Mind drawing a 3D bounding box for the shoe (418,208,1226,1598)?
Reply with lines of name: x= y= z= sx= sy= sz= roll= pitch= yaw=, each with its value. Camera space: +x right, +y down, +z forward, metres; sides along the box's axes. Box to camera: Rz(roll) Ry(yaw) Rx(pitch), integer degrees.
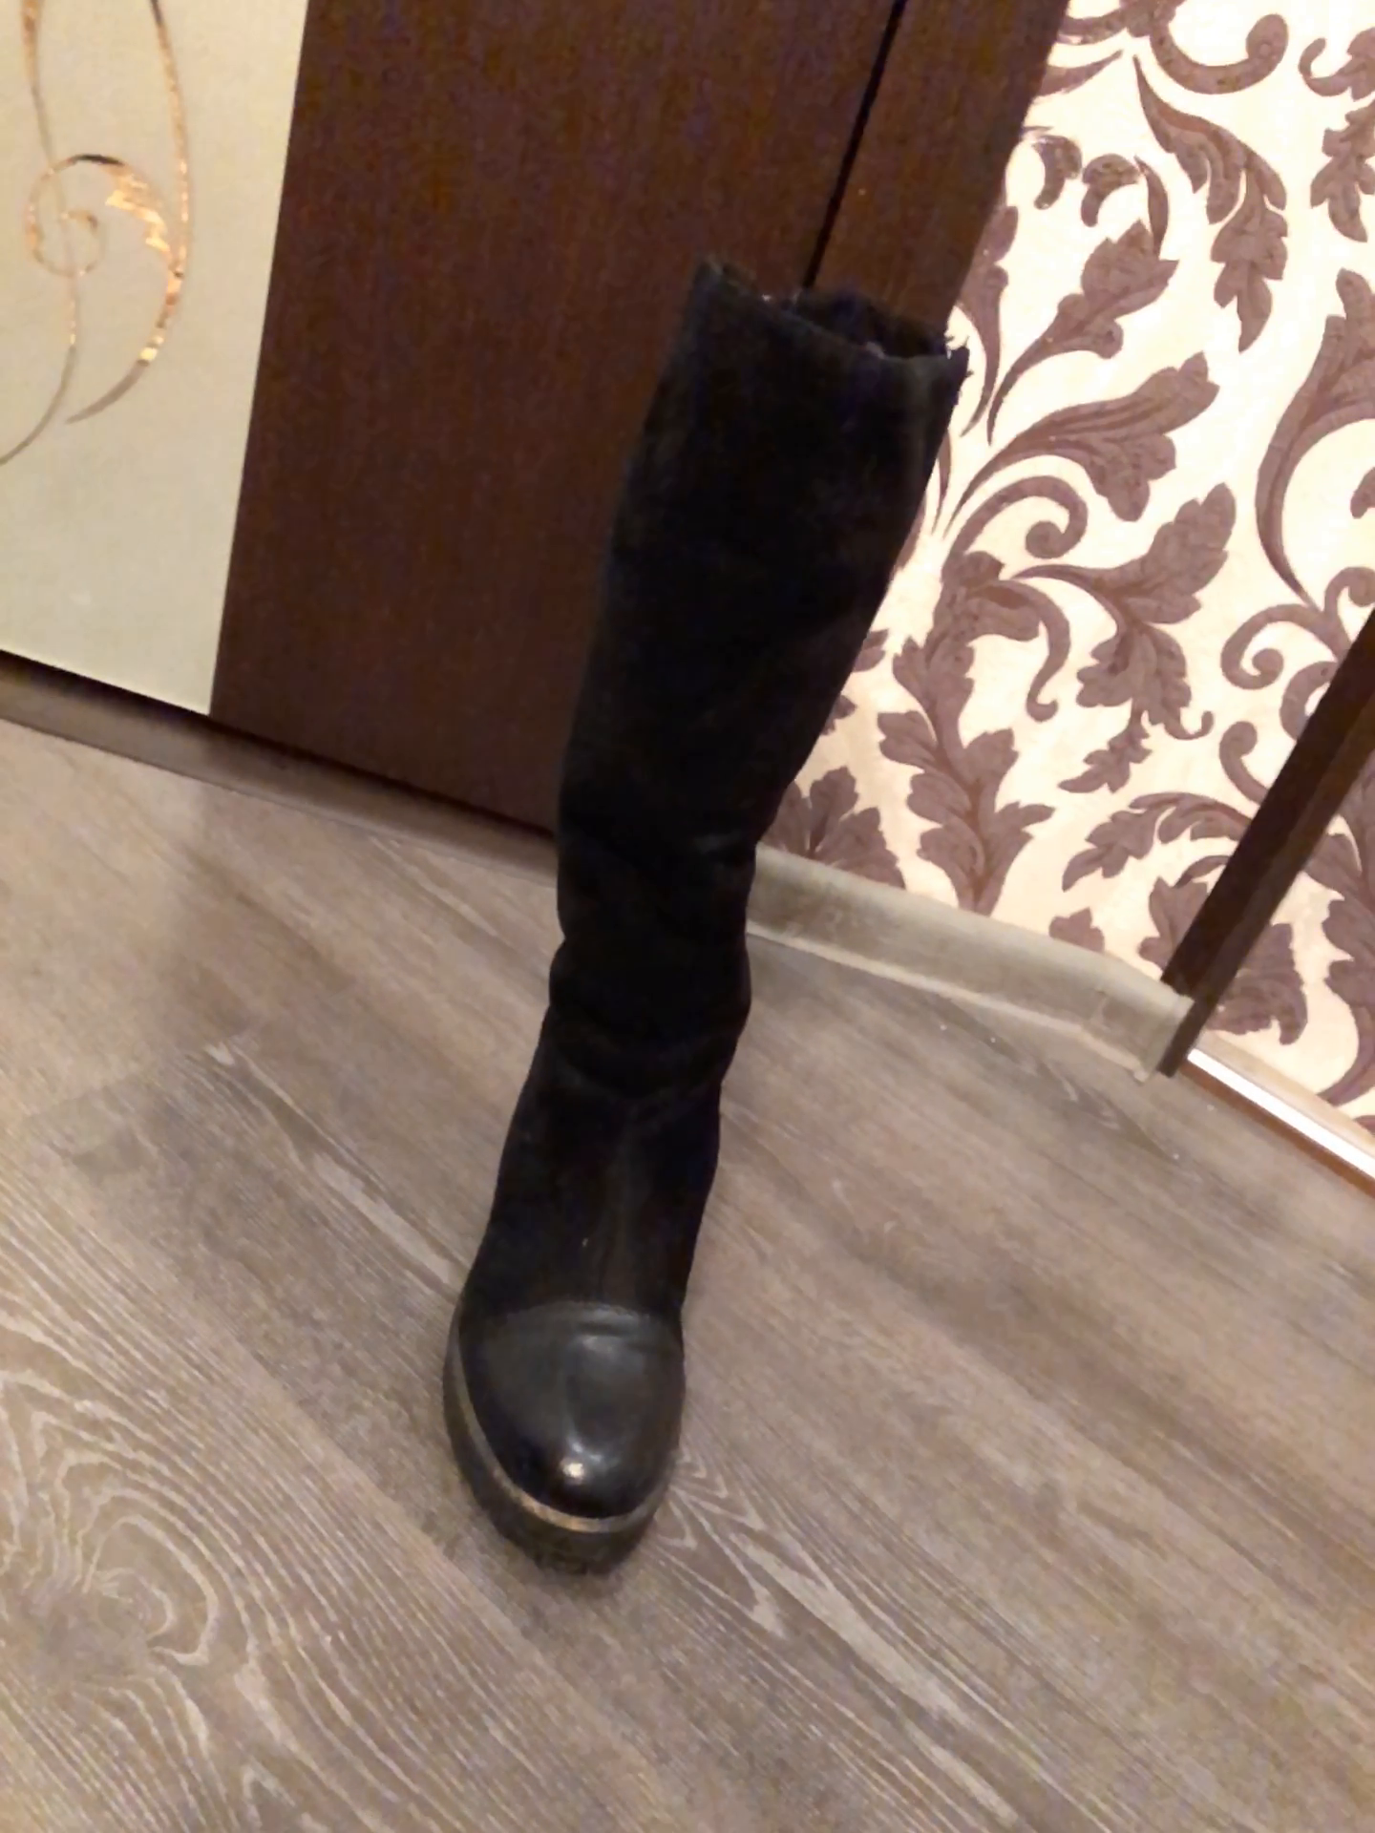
shoe: x=0.005 y=0.001 z=0.534 sx=0.100 sy=0.407 sz=0.252 roll=12 pitch=32 yaw=-12
